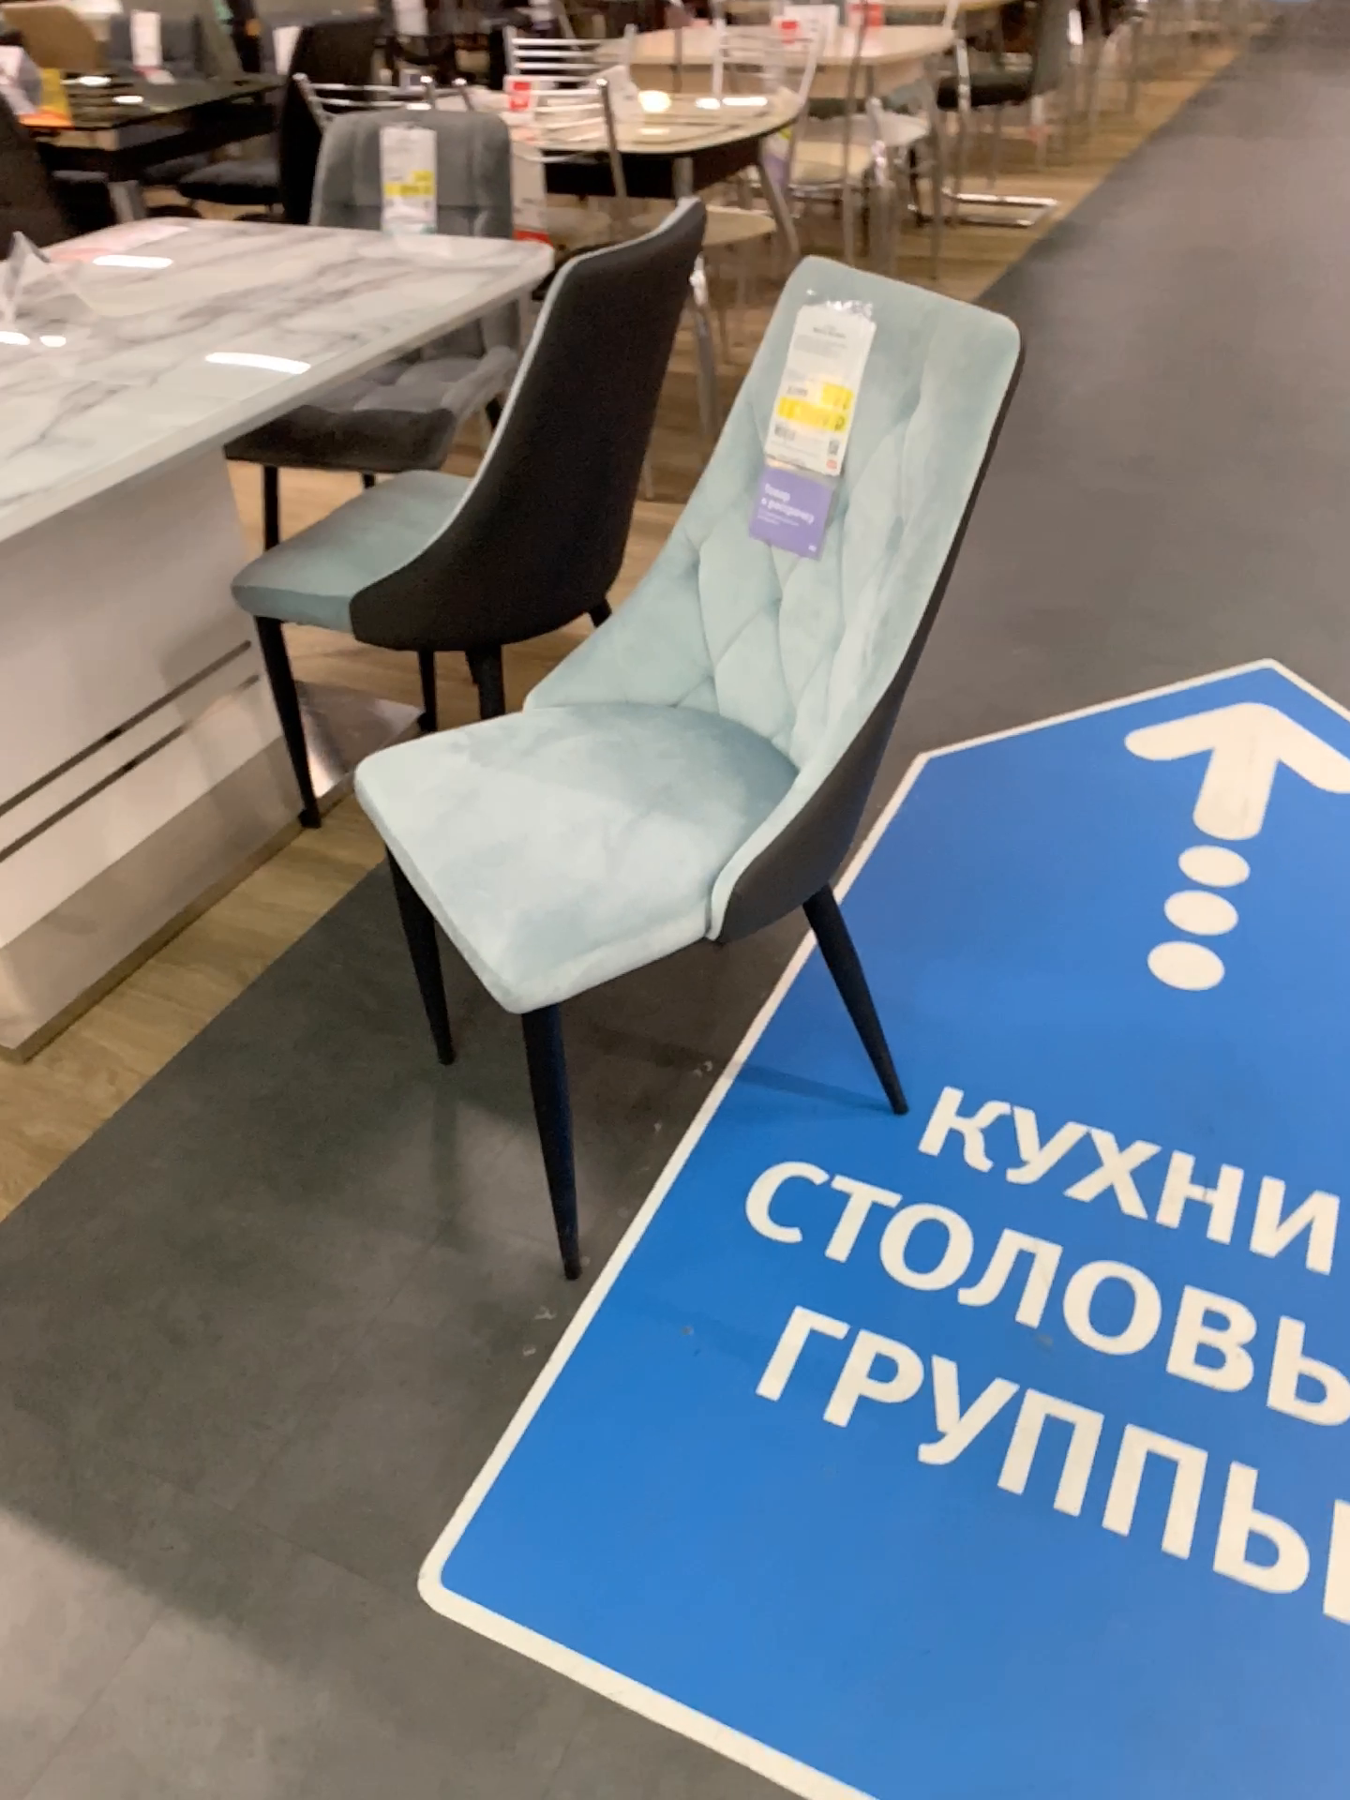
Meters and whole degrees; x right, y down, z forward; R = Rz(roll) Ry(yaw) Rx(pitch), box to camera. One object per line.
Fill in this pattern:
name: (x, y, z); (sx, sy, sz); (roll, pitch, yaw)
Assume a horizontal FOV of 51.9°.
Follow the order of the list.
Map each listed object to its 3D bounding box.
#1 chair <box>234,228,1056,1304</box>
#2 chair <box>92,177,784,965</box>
chair: (-0.024, -0.142, 1.451); (0.551, 0.885, 0.472); (-20, 40, -21)
chair: (-0.260, -0.497, 2.014); (0.665, 0.880, 0.571); (14, 40, 22)
